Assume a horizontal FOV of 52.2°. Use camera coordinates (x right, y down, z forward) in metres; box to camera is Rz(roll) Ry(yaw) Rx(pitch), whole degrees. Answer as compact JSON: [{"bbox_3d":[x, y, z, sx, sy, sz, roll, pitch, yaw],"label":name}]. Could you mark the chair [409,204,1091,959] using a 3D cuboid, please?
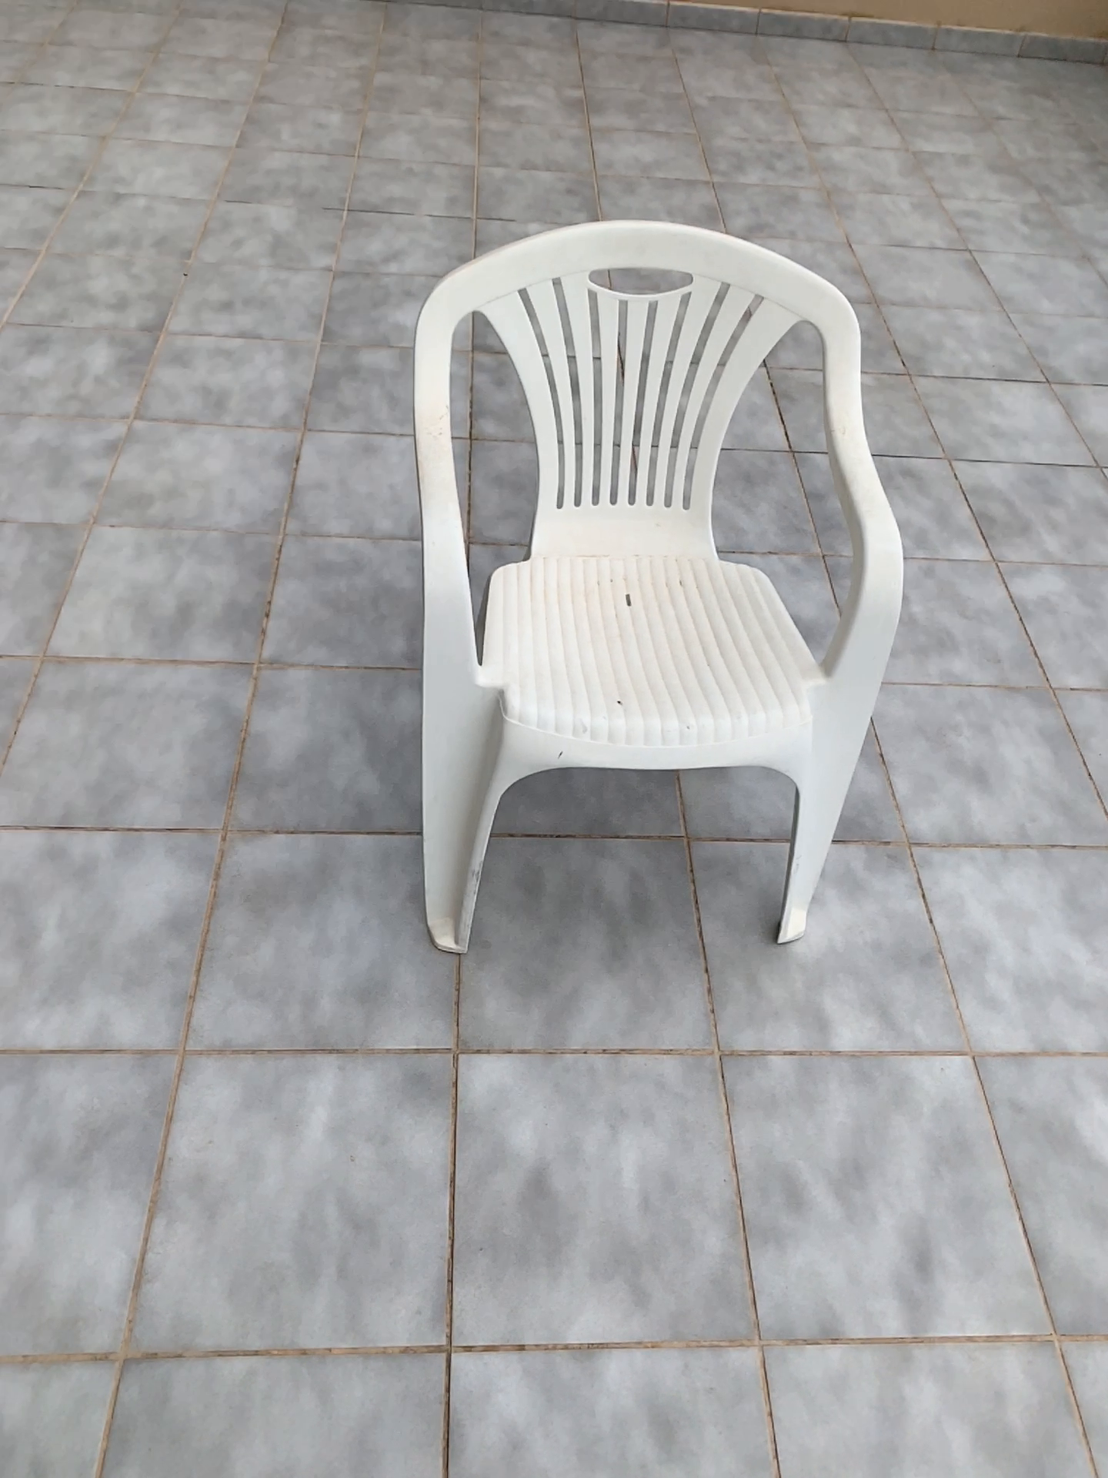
[{"bbox_3d":[0.118,-0.168,1.358,0.570,0.667,0.563,-1,48,-8],"label":"chair"}]
